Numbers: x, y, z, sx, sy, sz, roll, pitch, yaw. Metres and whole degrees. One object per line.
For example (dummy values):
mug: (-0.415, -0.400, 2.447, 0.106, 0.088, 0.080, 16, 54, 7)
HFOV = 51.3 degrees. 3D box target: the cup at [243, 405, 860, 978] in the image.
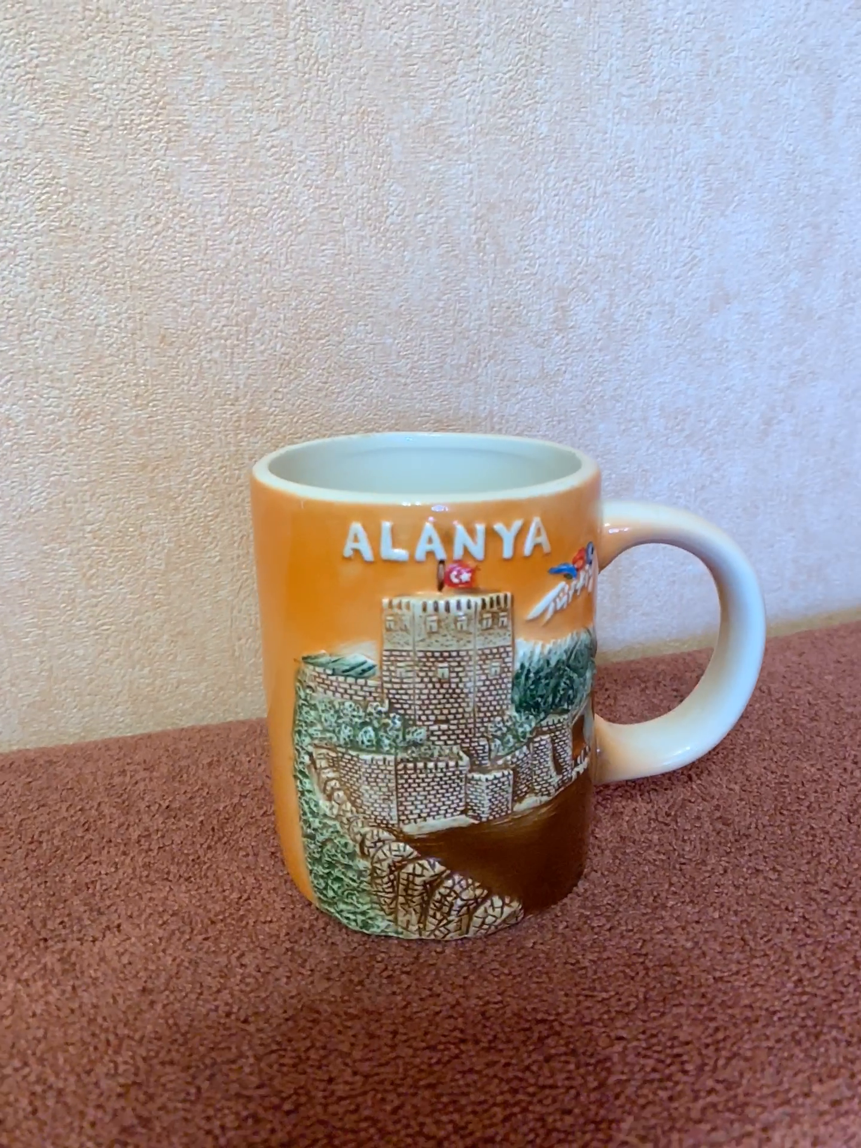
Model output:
cup: (0.020, 0.018, 0.220, 0.119, 0.098, 0.088, -5, 21, -9)
